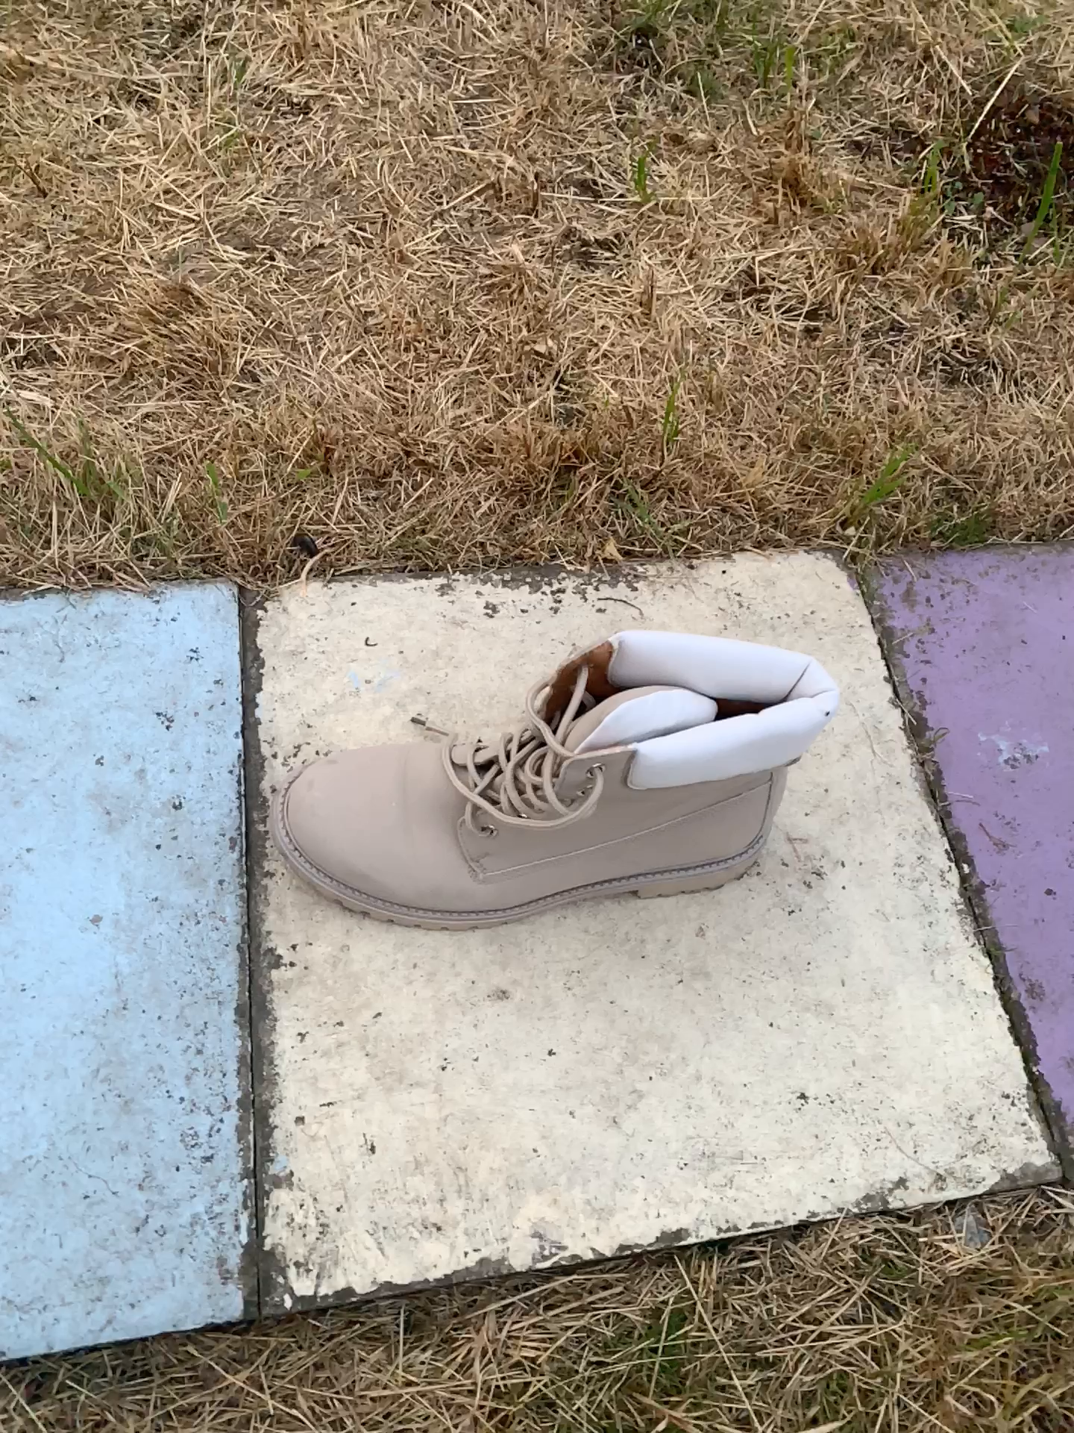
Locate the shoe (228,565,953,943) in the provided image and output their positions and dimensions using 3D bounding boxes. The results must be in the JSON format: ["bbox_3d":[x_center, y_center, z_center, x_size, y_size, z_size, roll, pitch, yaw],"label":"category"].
[{"bbox_3d":[0.011,0.031,0.526,0.280,0.199,0.101,1,63,-9],"label":"shoe"}]
